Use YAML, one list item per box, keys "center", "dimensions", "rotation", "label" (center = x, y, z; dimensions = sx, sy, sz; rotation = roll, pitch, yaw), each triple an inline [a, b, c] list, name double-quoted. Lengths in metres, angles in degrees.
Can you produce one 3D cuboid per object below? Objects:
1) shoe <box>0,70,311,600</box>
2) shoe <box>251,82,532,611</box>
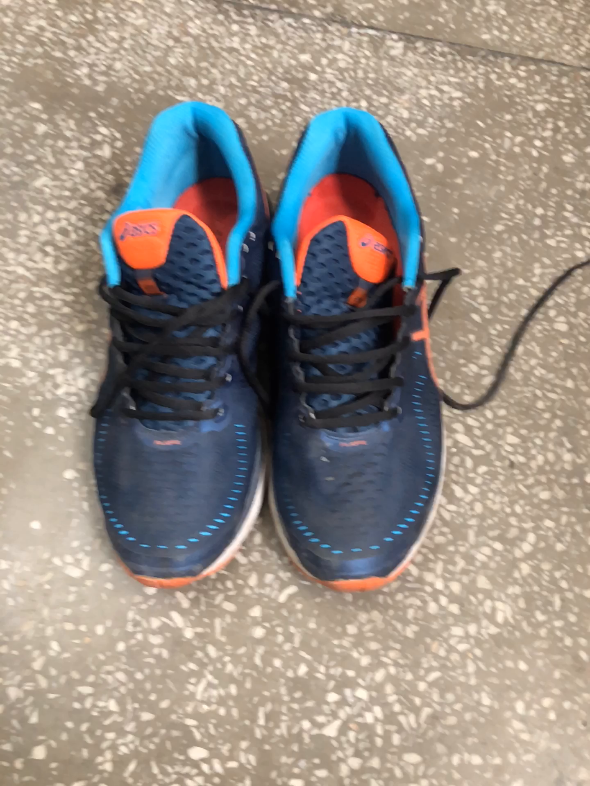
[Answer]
- center: [-0.061, -0.040, 0.382]
  dimensions: [0.118, 0.100, 0.288]
  rotation: [4, 66, 2]
  label: "shoe"
- center: [0.047, -0.033, 0.380]
  dimensions: [0.118, 0.100, 0.288]
  rotation: [3, 66, 1]
  label: "shoe"
